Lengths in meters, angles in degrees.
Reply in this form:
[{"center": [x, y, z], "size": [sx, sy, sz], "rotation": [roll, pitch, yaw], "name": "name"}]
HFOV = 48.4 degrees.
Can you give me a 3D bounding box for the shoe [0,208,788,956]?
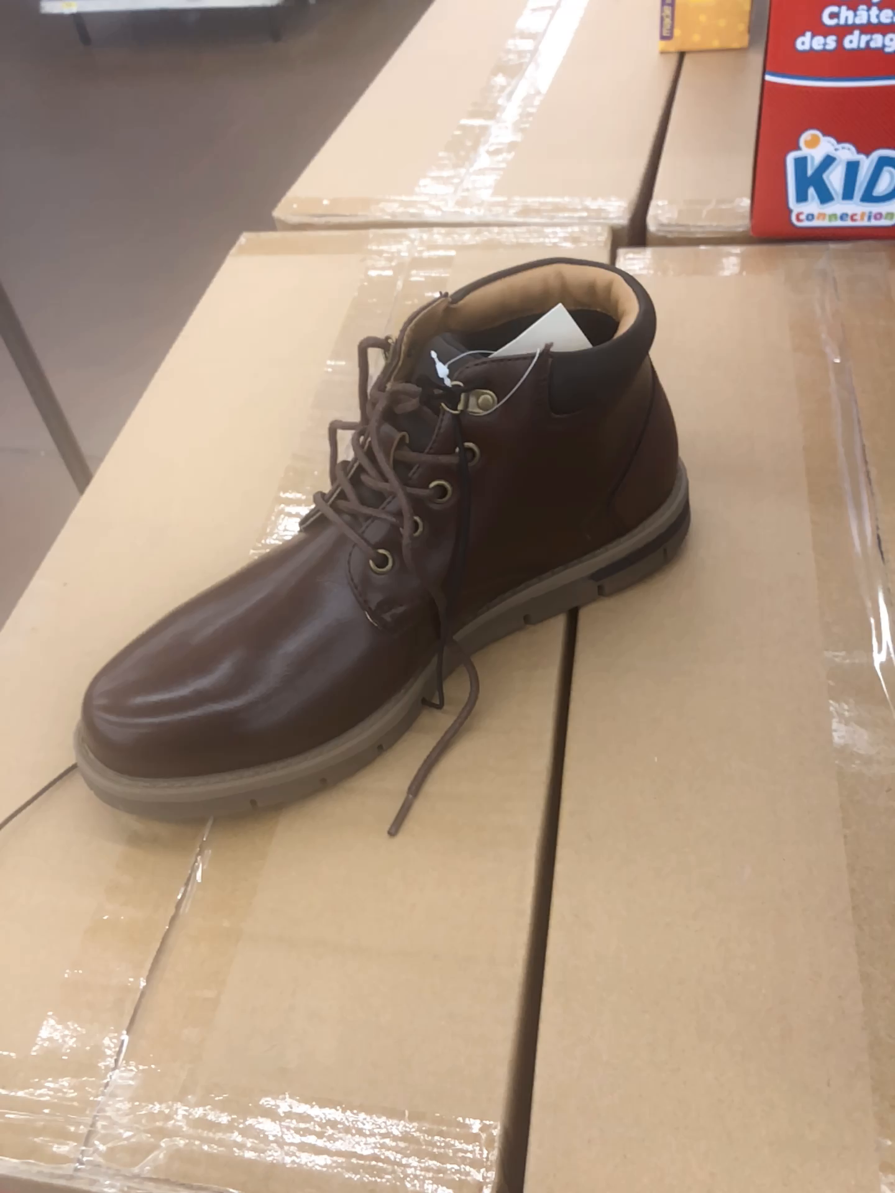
[{"center": [-0.021, -0.014, 0.412], "size": [0.290, 0.159, 0.120], "rotation": [-29, 49, -17], "name": "shoe"}]
